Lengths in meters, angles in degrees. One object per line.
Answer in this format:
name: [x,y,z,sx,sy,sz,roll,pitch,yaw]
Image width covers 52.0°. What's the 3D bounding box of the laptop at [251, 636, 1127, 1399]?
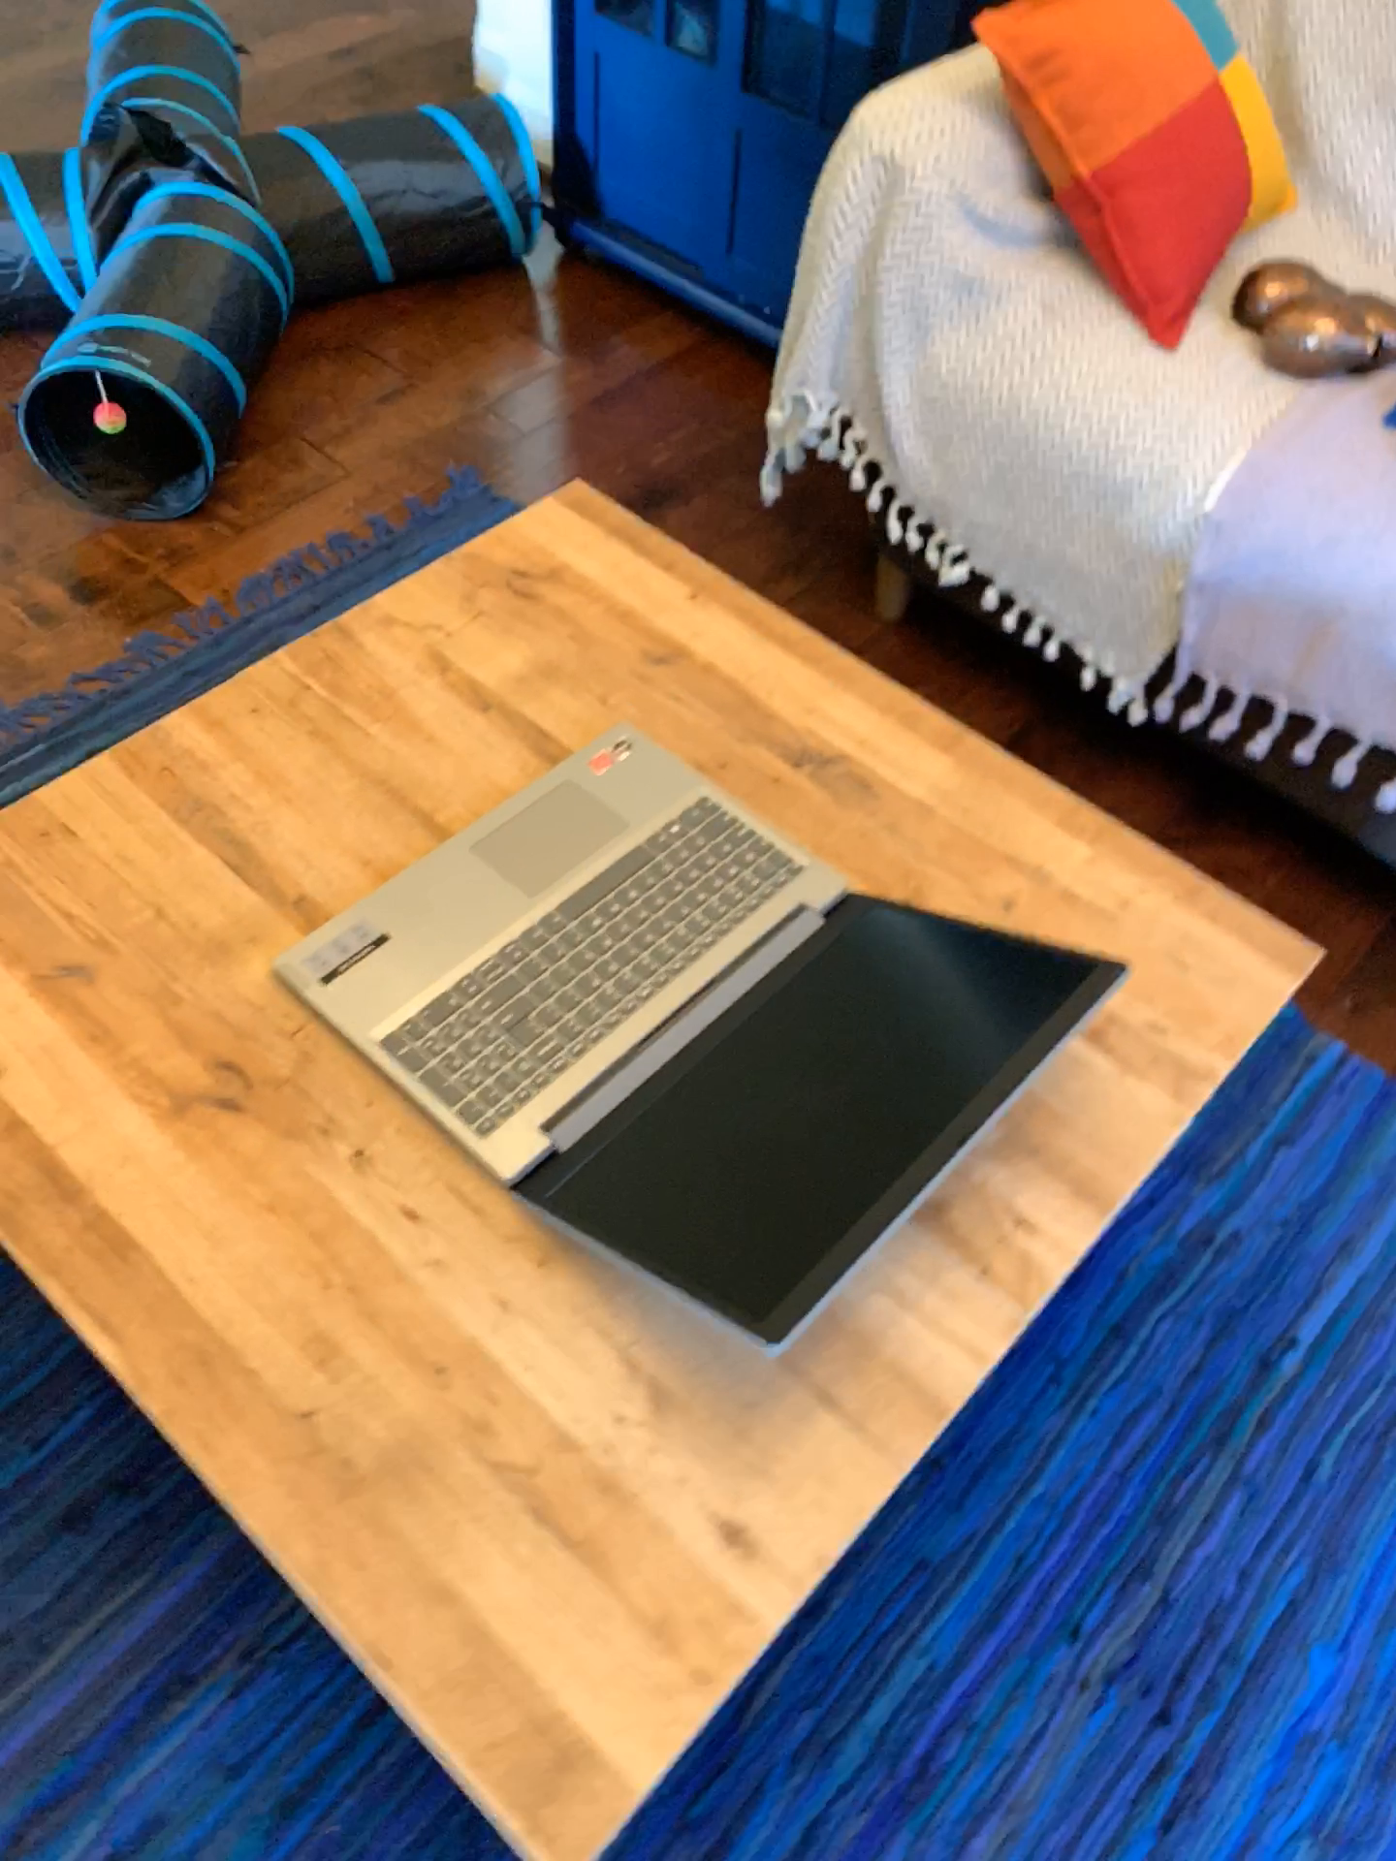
laptop: [-0.013,0.021,0.970,0.461,0.099,0.346,36,58,25]
